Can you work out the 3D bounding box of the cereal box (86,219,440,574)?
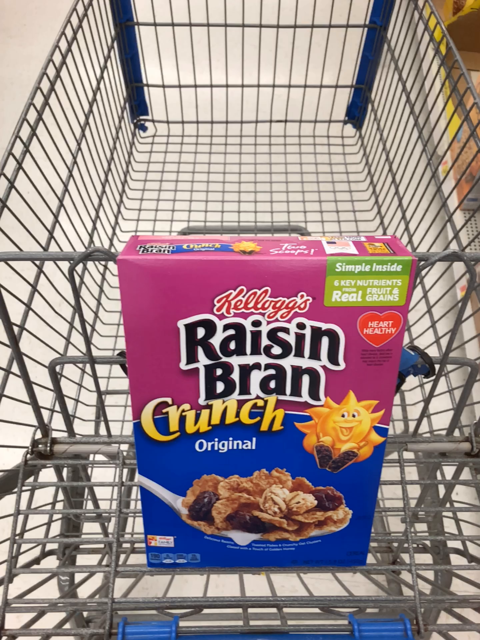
[{"bbox_3d":[0.013,0.069,0.403,0.210,0.280,0.060,0,26,-1],"label":"cereal box"}]
